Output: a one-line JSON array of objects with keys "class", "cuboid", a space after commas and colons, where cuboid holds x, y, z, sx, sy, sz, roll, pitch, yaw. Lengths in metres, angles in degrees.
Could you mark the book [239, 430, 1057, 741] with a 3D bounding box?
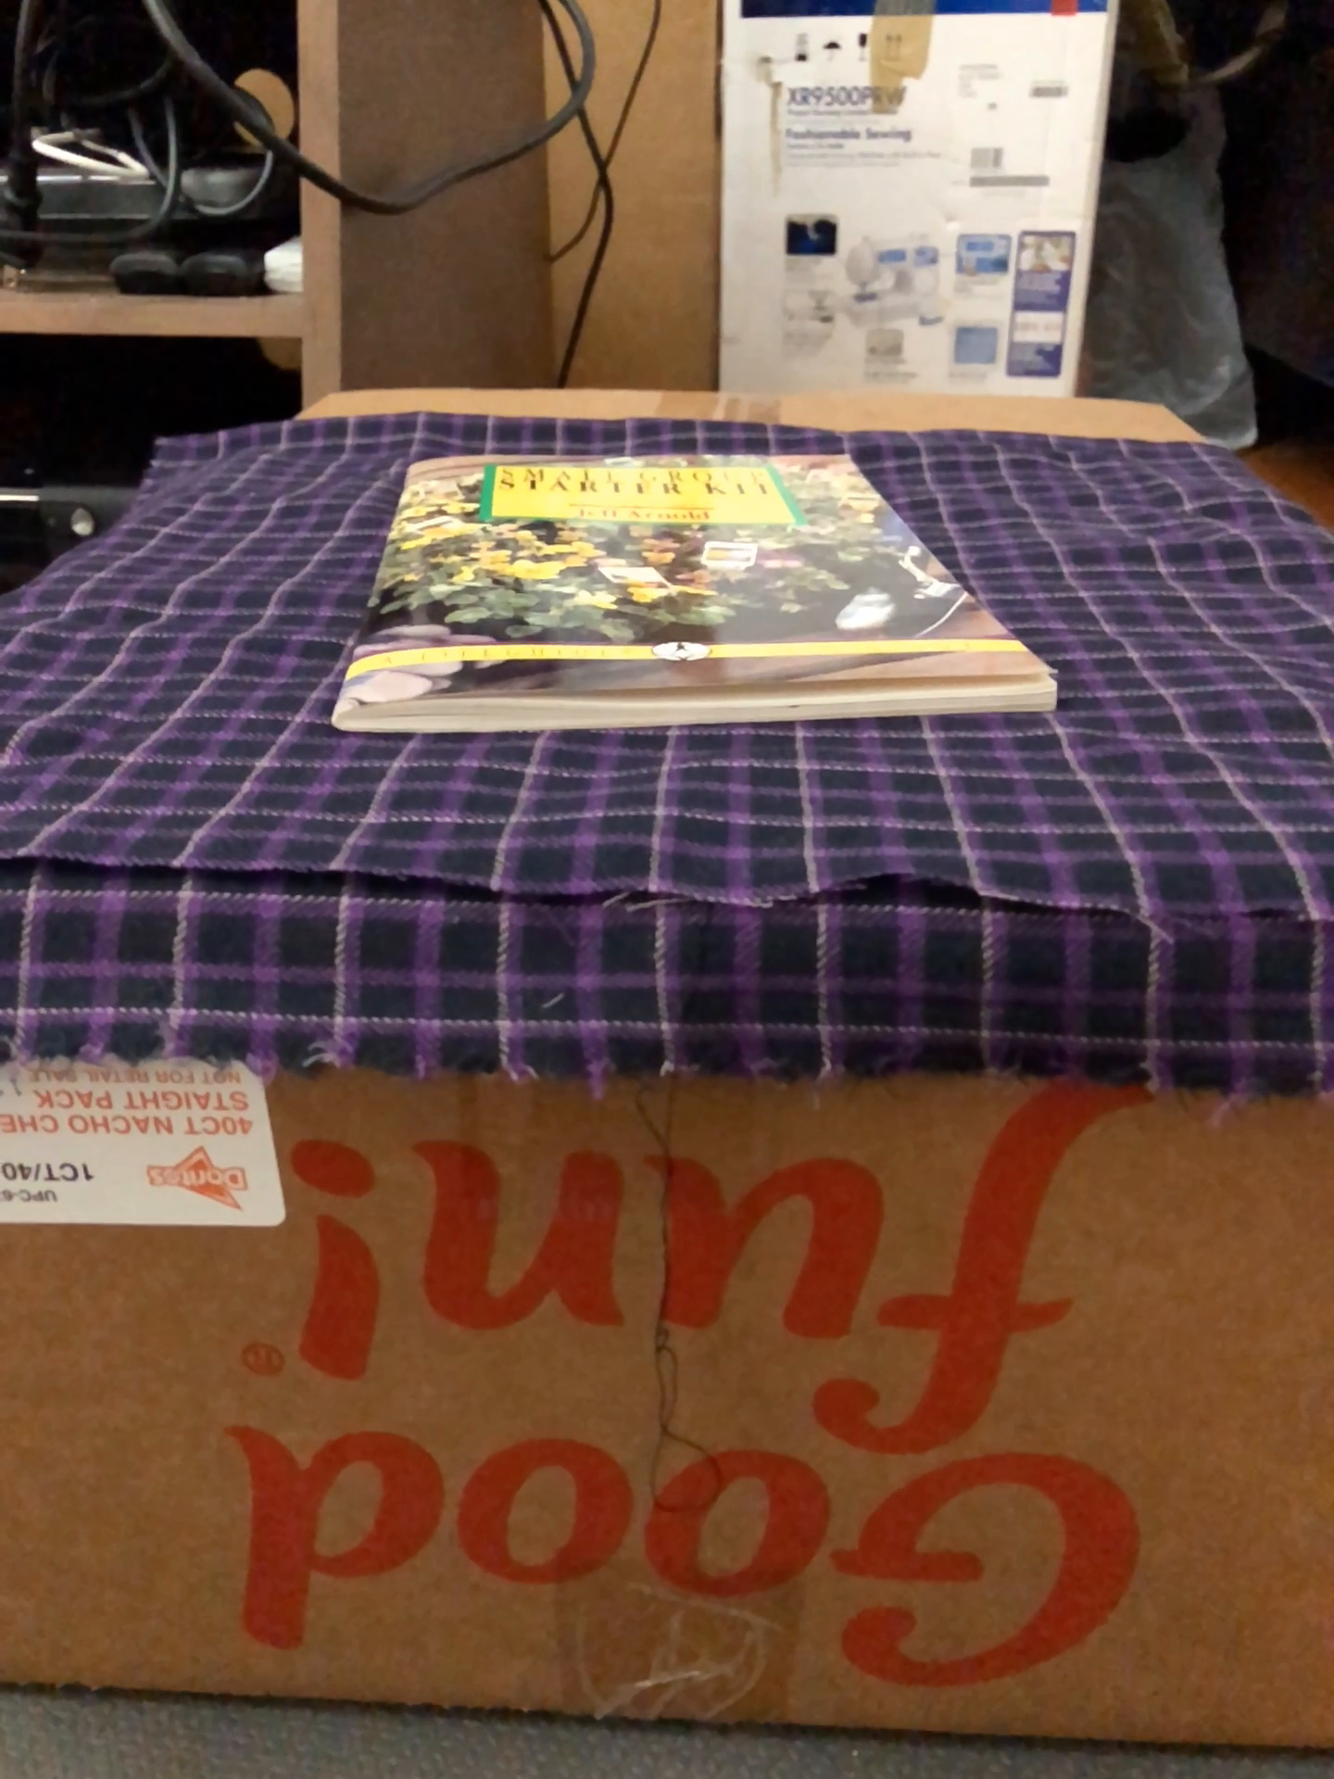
[{"class": "book", "cuboid": [-0.011, -0.087, 0.370, 0.150, 0.010, 0.221, -3, 28, -4]}]
